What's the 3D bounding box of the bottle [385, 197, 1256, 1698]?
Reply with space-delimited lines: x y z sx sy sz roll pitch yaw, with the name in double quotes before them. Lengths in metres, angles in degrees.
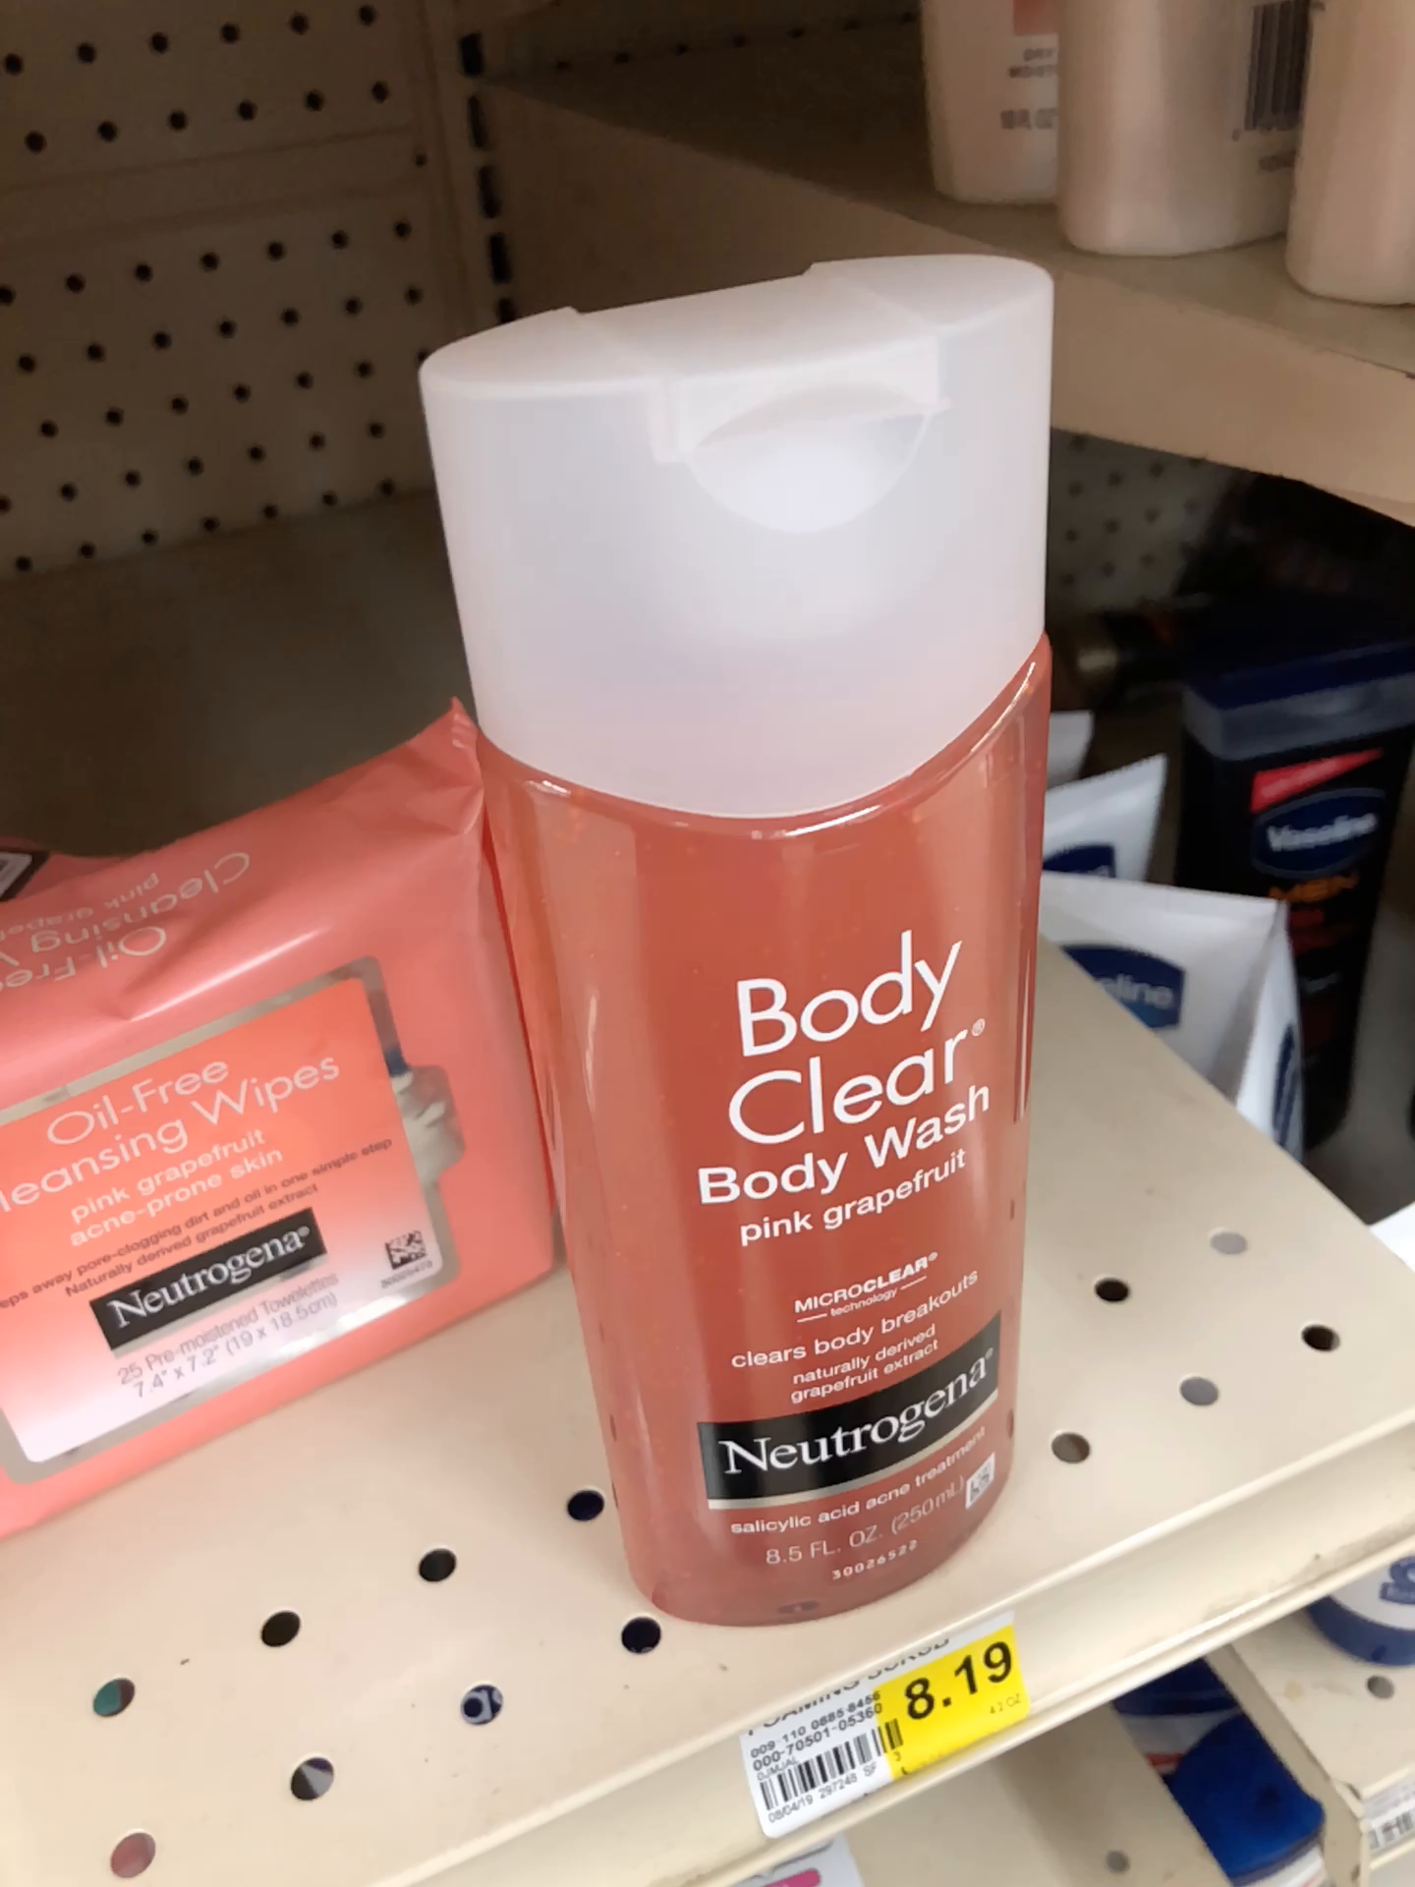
"bottle" 0.015 0.018 0.197 0.070 0.190 0.030 -16 39 -14
